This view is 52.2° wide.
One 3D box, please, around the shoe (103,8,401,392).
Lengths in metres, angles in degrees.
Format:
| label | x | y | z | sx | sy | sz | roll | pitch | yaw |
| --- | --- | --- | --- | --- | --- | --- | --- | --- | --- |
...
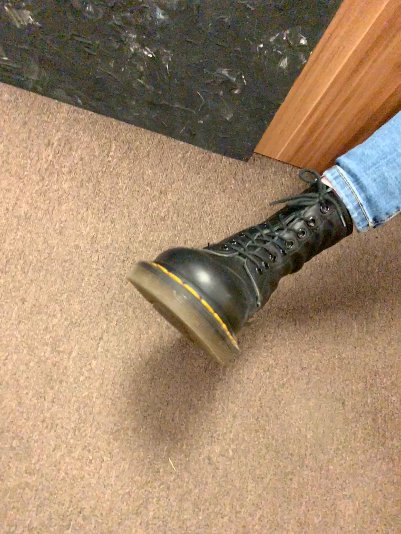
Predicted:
| label | x | y | z | sx | sy | sz | roll | pitch | yaw |
| --- | --- | --- | --- | --- | --- | --- | --- | --- | --- |
| shoe | 0.077 | -0.037 | 0.443 | 0.230 | 0.370 | 0.120 | -42 | 85 | 2 |
